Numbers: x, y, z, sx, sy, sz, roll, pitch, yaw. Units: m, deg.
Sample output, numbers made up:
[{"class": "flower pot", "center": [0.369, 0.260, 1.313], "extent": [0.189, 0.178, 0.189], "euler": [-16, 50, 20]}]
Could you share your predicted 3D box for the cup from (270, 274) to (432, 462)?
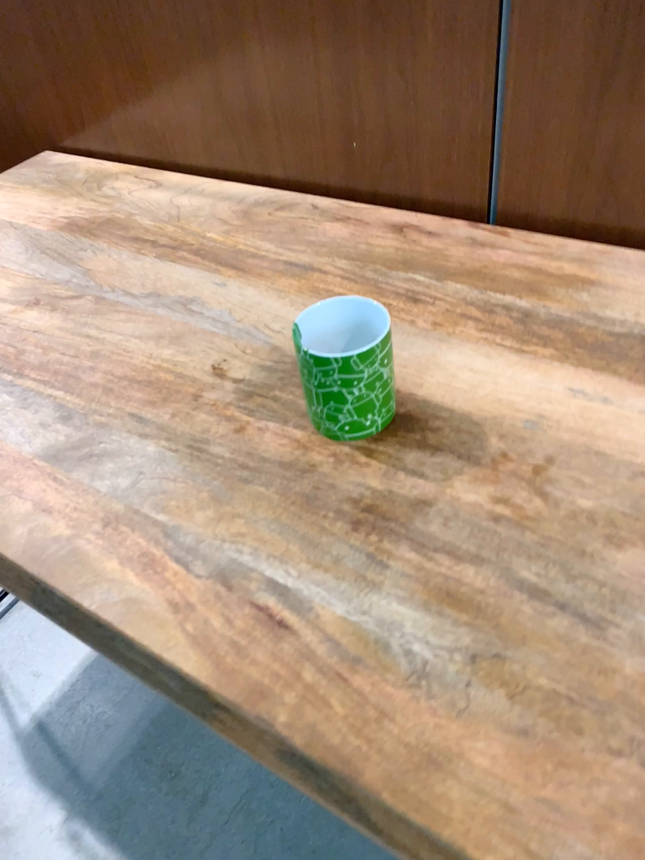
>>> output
[{"class": "cup", "center": [0.023, -0.058, 0.573], "extent": [0.100, 0.080, 0.131], "euler": [-16, 44, -6]}]
